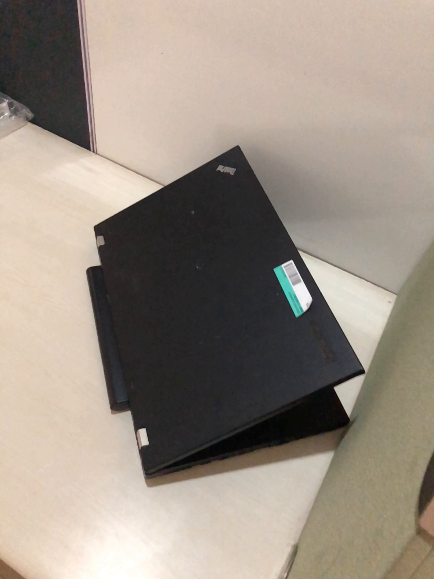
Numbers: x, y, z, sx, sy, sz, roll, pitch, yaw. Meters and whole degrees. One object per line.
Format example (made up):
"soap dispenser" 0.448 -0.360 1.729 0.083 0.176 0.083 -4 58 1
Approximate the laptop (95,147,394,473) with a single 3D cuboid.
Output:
"laptop" -0.003 -0.003 0.585 0.232 0.140 0.356 -10 51 -14
